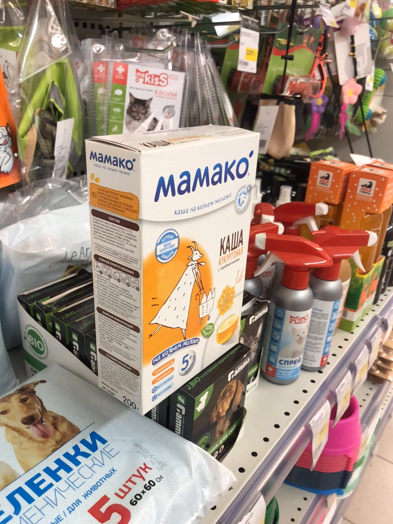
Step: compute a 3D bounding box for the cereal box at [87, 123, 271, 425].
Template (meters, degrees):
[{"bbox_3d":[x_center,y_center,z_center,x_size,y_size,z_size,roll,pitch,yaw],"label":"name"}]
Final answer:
[{"bbox_3d":[-0.009,0.001,0.344,0.050,0.199,0.141,20,28,34],"label":"cereal box"}]
